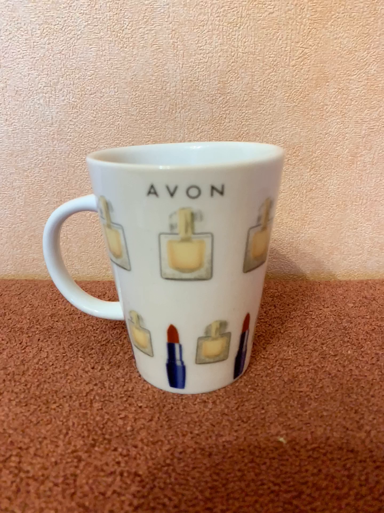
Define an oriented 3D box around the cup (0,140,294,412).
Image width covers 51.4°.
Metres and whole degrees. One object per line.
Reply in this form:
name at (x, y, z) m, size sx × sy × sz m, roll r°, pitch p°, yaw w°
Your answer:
cup at (-0.012, 0.000, 0.179) m, size 0.103 × 0.093 × 0.071 m, roll 3°, pitch 23°, yaw 11°
